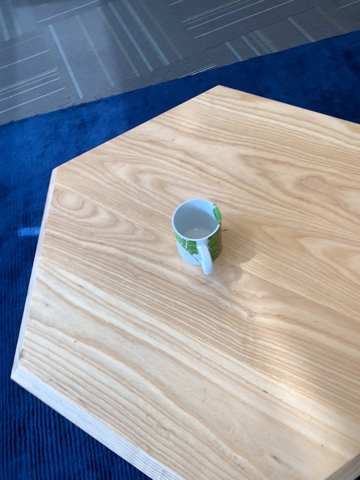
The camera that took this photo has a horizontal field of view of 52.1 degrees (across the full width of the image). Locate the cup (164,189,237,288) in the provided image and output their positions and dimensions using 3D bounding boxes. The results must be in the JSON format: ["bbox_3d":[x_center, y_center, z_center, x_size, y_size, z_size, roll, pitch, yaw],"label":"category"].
[{"bbox_3d":[0.034,-0.002,0.613,0.090,0.090,0.120,-13,60,1],"label":"cup"}]
